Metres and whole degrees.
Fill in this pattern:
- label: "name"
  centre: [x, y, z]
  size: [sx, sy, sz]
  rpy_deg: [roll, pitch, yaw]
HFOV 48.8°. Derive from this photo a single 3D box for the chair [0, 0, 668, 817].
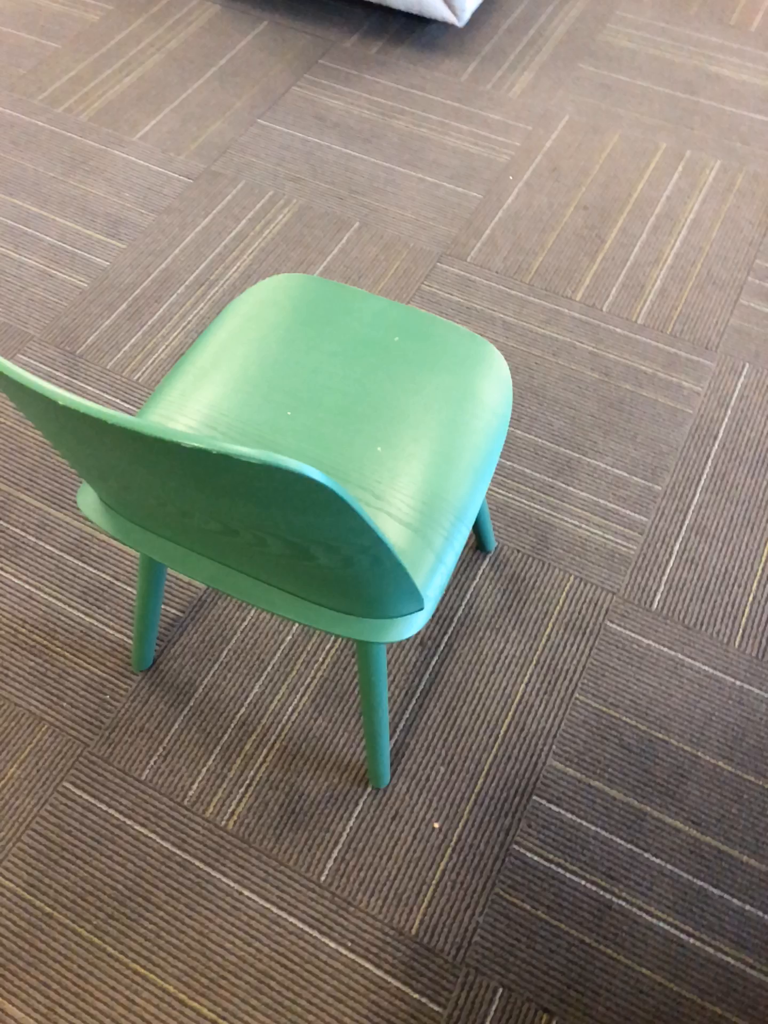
- label: "chair"
  centre: [-0.090, -0.082, 1.002]
  size: [0.500, 0.778, 0.501]
  rpy_deg: [23, 59, 13]
